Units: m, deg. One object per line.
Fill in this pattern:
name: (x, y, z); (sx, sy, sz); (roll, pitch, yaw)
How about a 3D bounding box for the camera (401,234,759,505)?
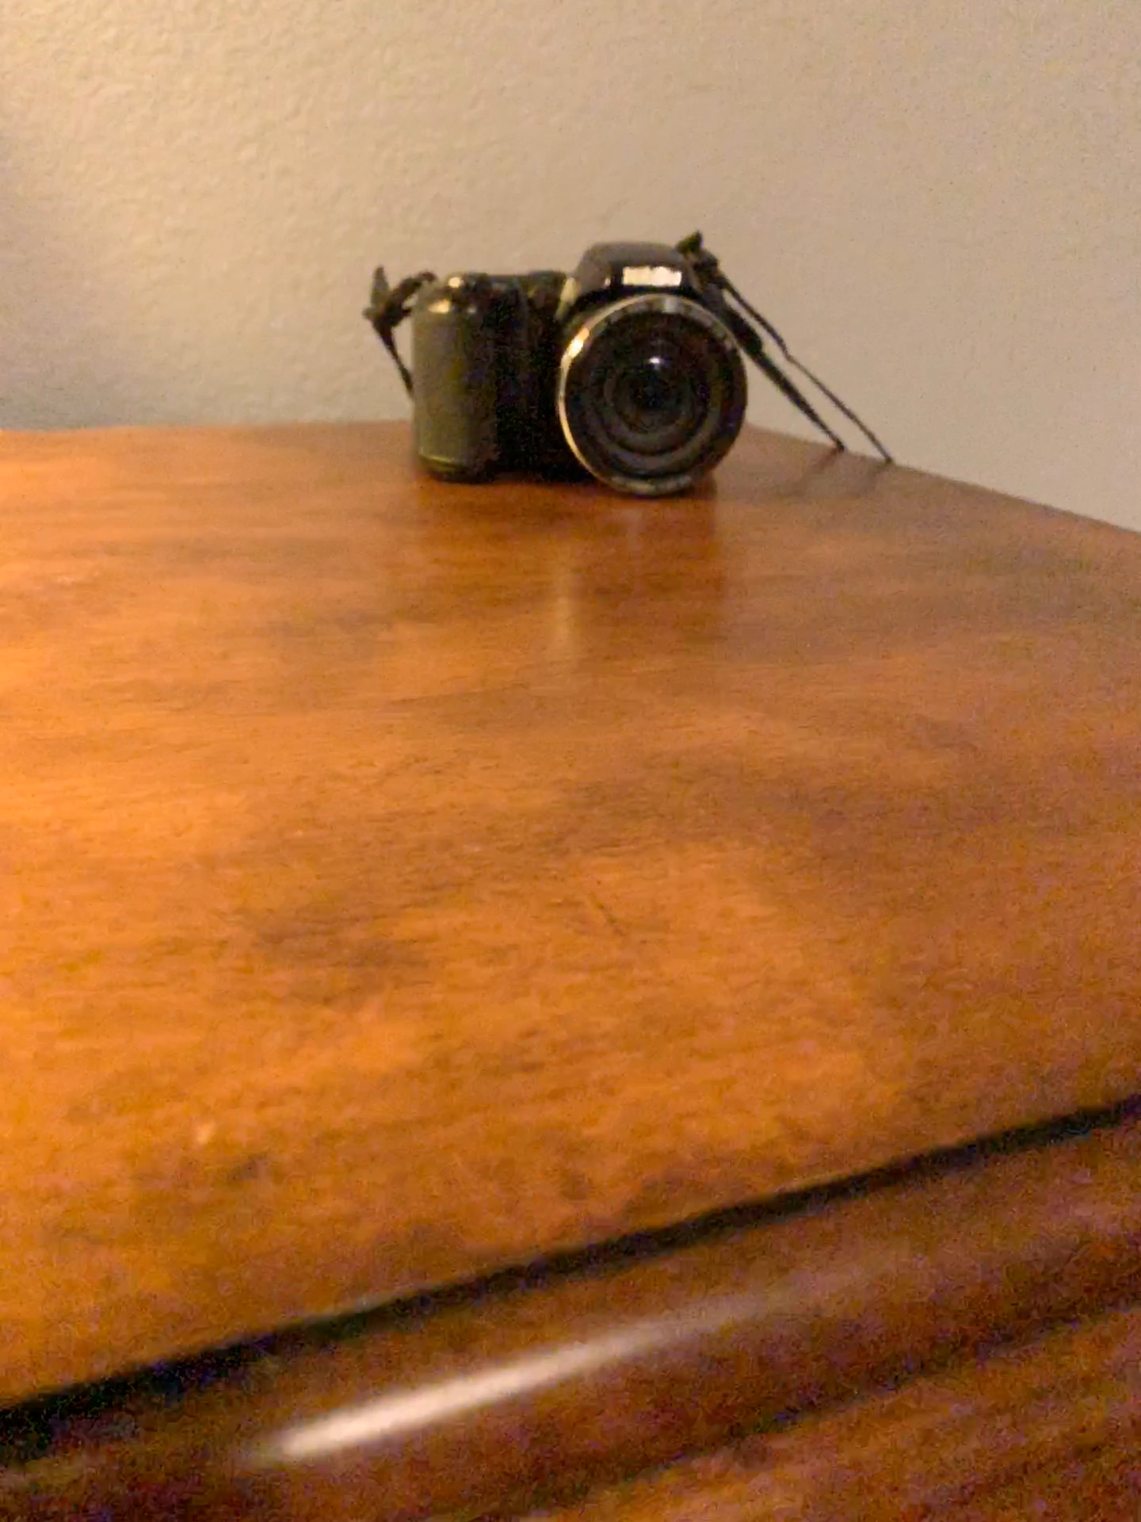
camera: (-0.002, -0.146, 0.436); (0.110, 0.081, 0.123); (-1, 22, -5)
